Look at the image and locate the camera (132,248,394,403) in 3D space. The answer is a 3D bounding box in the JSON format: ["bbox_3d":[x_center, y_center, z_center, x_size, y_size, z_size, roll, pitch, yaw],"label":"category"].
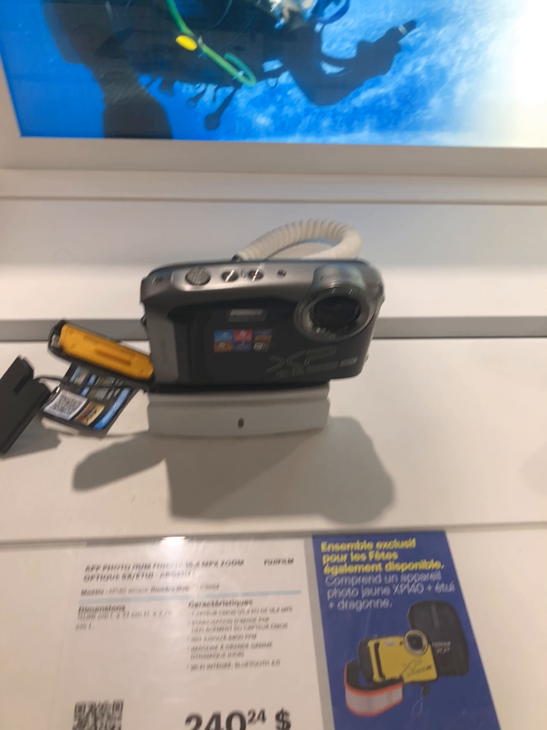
[{"bbox_3d":[-0.006,-0.017,0.277,0.106,0.070,0.023,-3,47,-7],"label":"camera"}]
